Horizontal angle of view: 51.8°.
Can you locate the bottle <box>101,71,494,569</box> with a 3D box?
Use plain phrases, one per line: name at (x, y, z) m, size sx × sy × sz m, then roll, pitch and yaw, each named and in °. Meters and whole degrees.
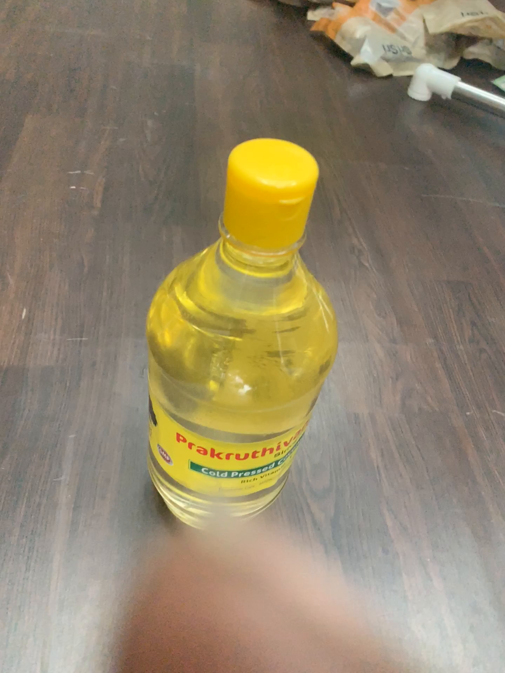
bottle at (-0.003, 0.009, 0.235) m, size 0.090 × 0.209 × 0.090 m, roll 5°, pitch 48°, yaw -5°
